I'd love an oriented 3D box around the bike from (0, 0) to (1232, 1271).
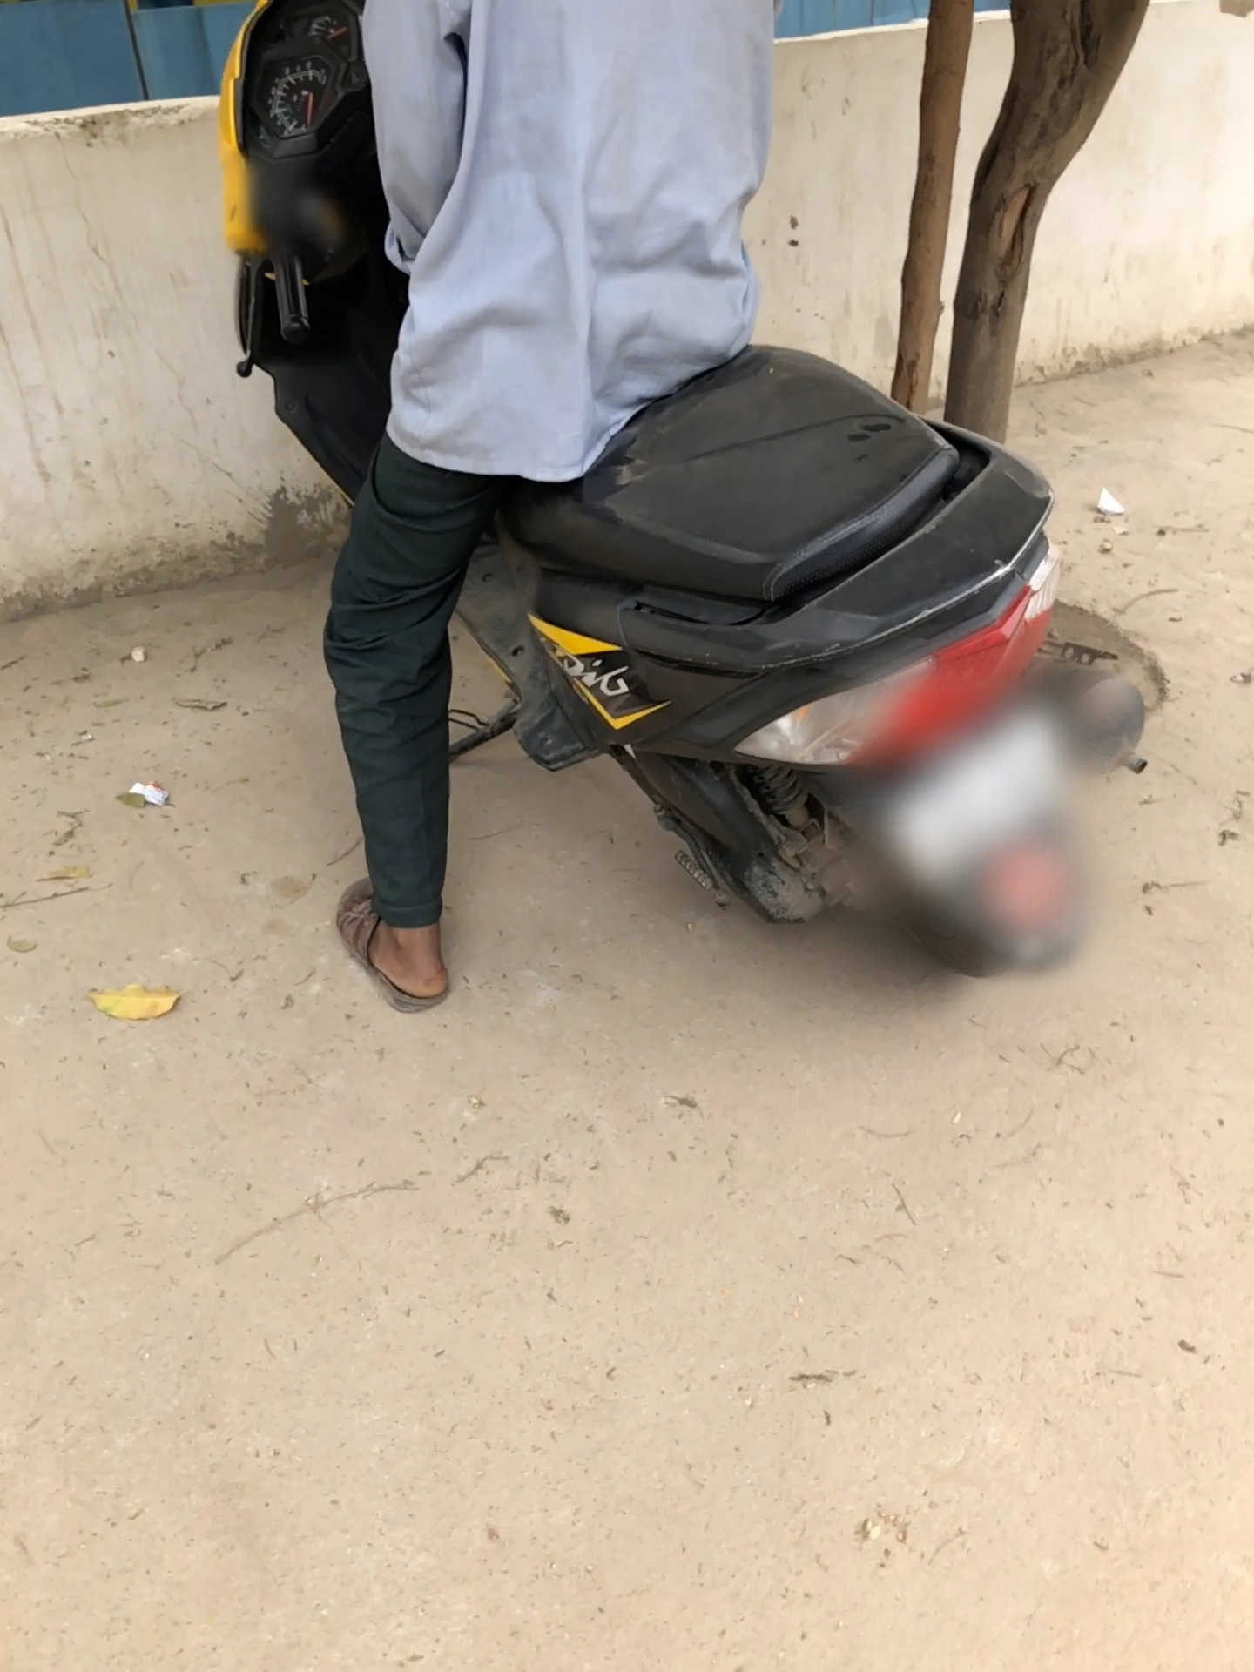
[{"bbox_3d":[-0.243,-0.531,1.717,0.636,1.144,1.574,-25,42,-29],"label":"bike"}]
